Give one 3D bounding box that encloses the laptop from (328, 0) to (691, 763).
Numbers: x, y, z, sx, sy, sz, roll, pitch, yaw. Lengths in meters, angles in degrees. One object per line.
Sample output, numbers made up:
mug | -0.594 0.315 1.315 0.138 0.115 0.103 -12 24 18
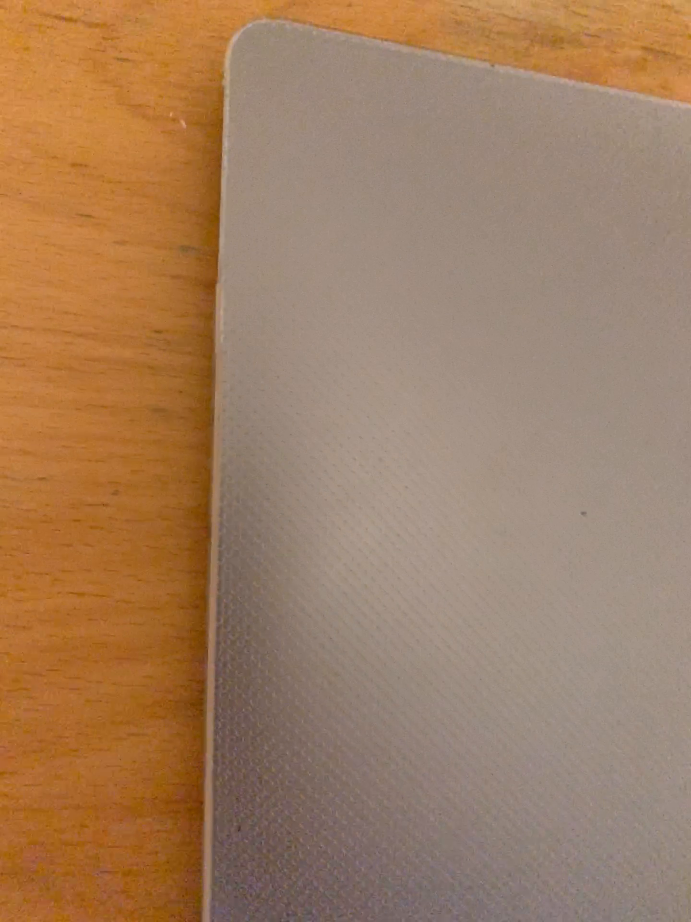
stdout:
laptop | 0.138 -0.030 0.212 0.292 0.005 0.210 2 87 -15
